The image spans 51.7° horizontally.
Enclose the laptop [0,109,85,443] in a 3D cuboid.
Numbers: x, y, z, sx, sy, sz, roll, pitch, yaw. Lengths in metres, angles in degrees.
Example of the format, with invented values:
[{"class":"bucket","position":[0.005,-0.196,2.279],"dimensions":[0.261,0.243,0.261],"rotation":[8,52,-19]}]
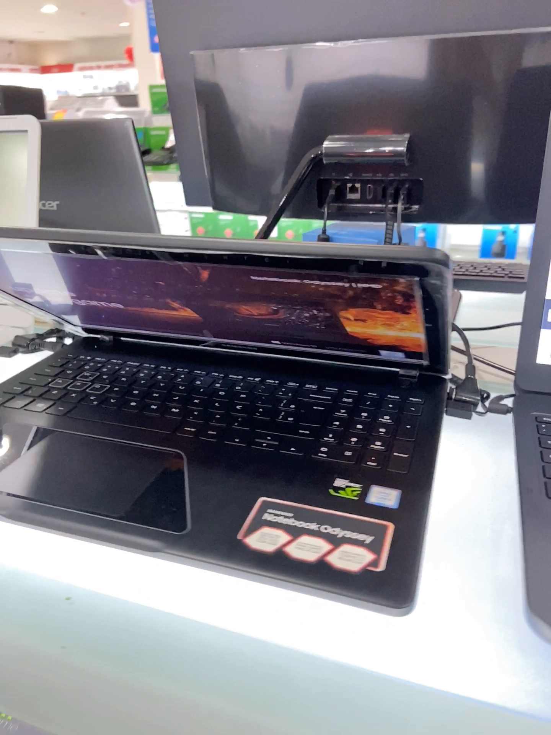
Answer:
[{"class":"laptop","position":[-0.507,-0.134,0.602],"dimensions":[0.431,0.224,0.346],"rotation":[5,25,19]}]

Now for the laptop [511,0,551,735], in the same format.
[{"class":"laptop","position":[0.356,-0.028,0.285],"dimensions":[0.412,0.234,0.309],"rotation":[7,25,17]}]

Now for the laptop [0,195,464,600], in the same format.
[{"class":"laptop","position":[-0.071,-0.029,0.408],"dimensions":[0.368,0.152,0.259],"rotation":[6,24,19]}]
